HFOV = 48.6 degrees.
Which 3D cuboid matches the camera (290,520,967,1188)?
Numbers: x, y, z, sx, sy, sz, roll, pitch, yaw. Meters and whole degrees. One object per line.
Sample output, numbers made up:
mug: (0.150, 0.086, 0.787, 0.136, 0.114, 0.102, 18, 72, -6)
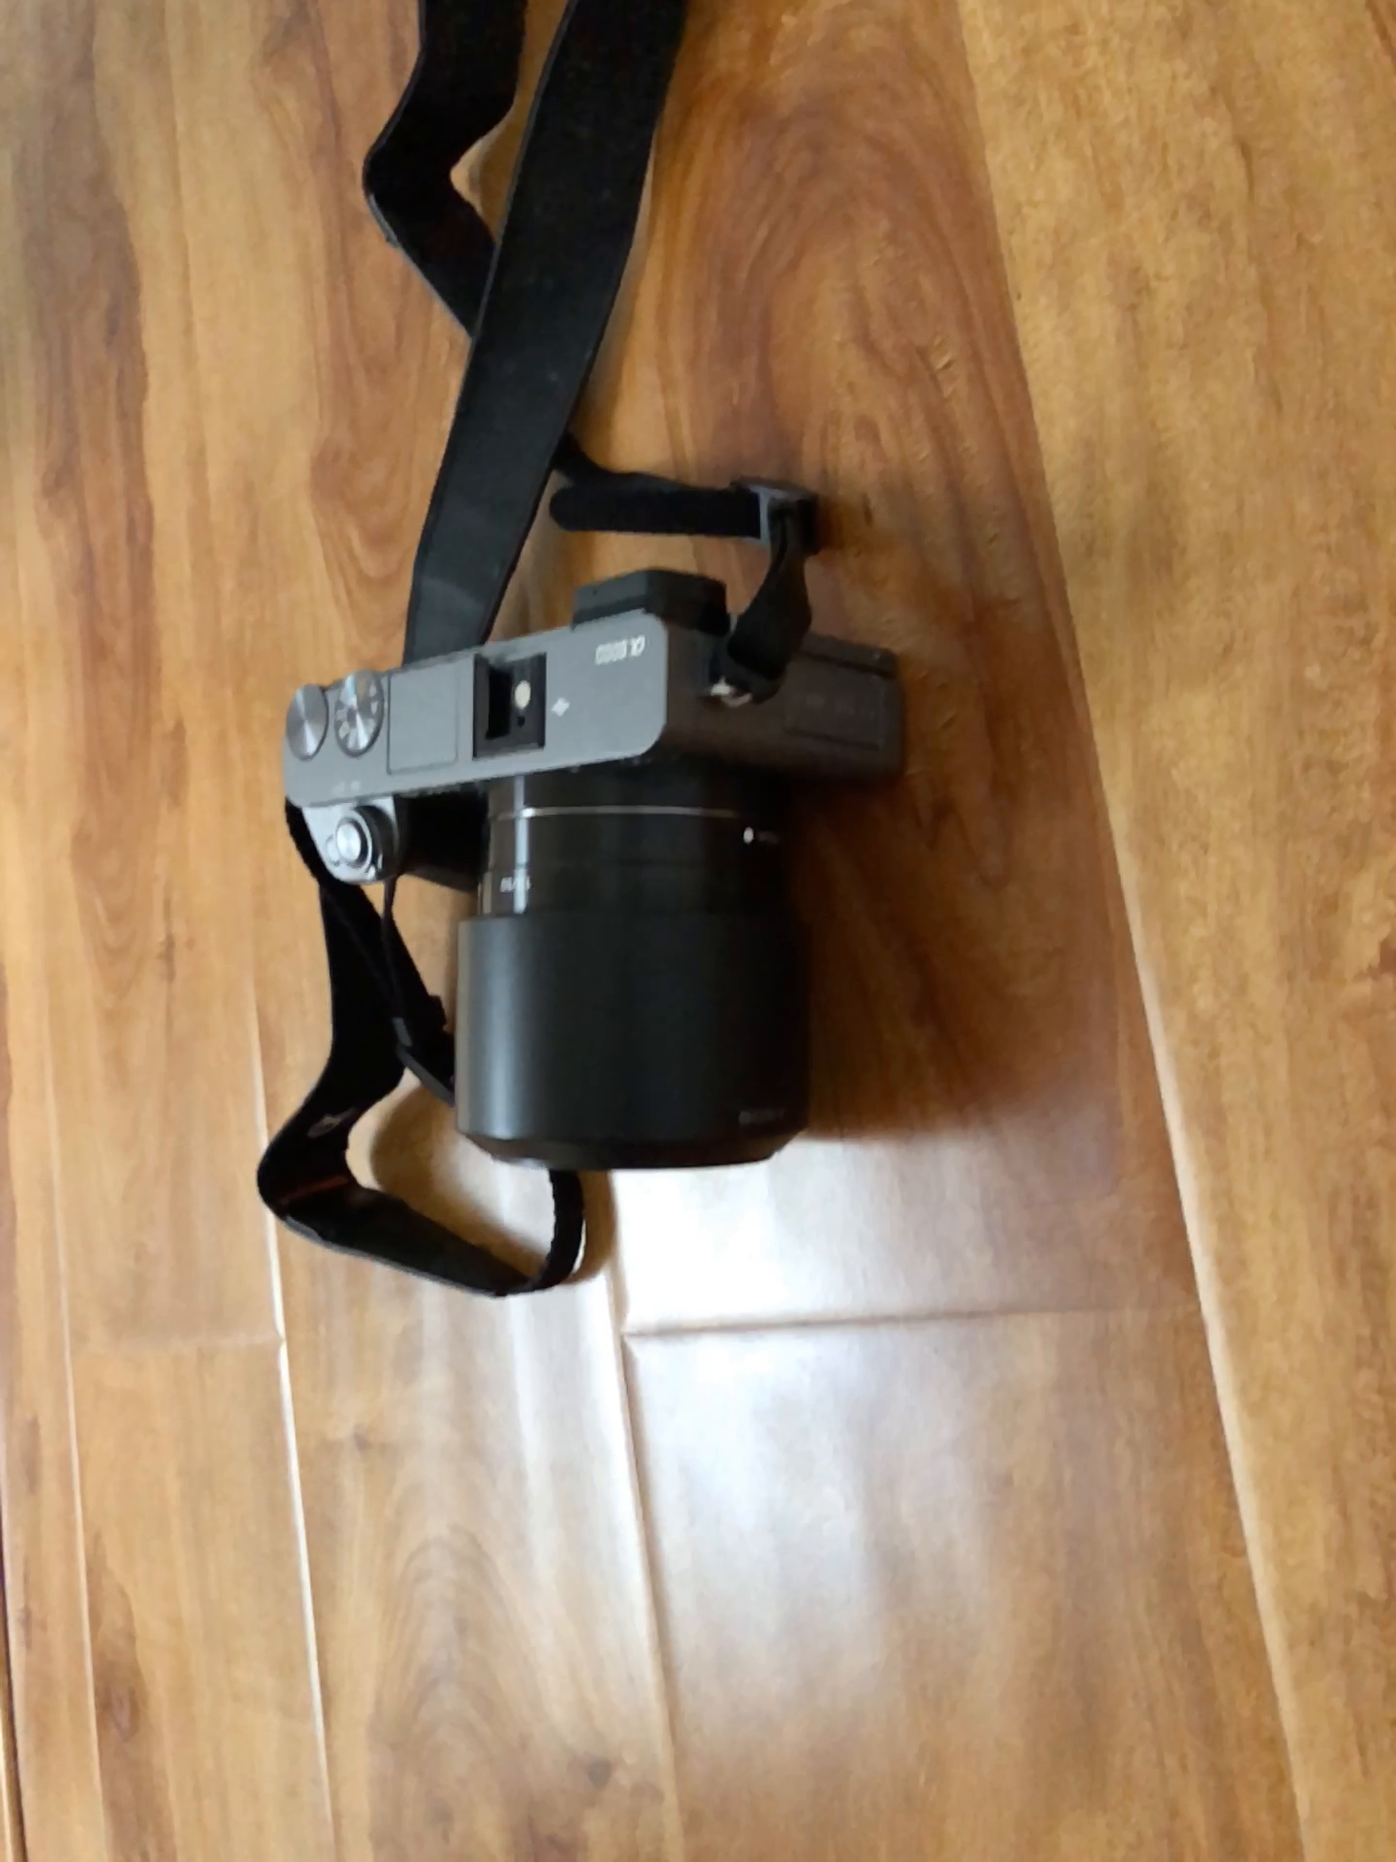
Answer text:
camera: (-0.020, -0.009, 0.324, 0.131, 0.070, 0.110, -4, 85, 44)
